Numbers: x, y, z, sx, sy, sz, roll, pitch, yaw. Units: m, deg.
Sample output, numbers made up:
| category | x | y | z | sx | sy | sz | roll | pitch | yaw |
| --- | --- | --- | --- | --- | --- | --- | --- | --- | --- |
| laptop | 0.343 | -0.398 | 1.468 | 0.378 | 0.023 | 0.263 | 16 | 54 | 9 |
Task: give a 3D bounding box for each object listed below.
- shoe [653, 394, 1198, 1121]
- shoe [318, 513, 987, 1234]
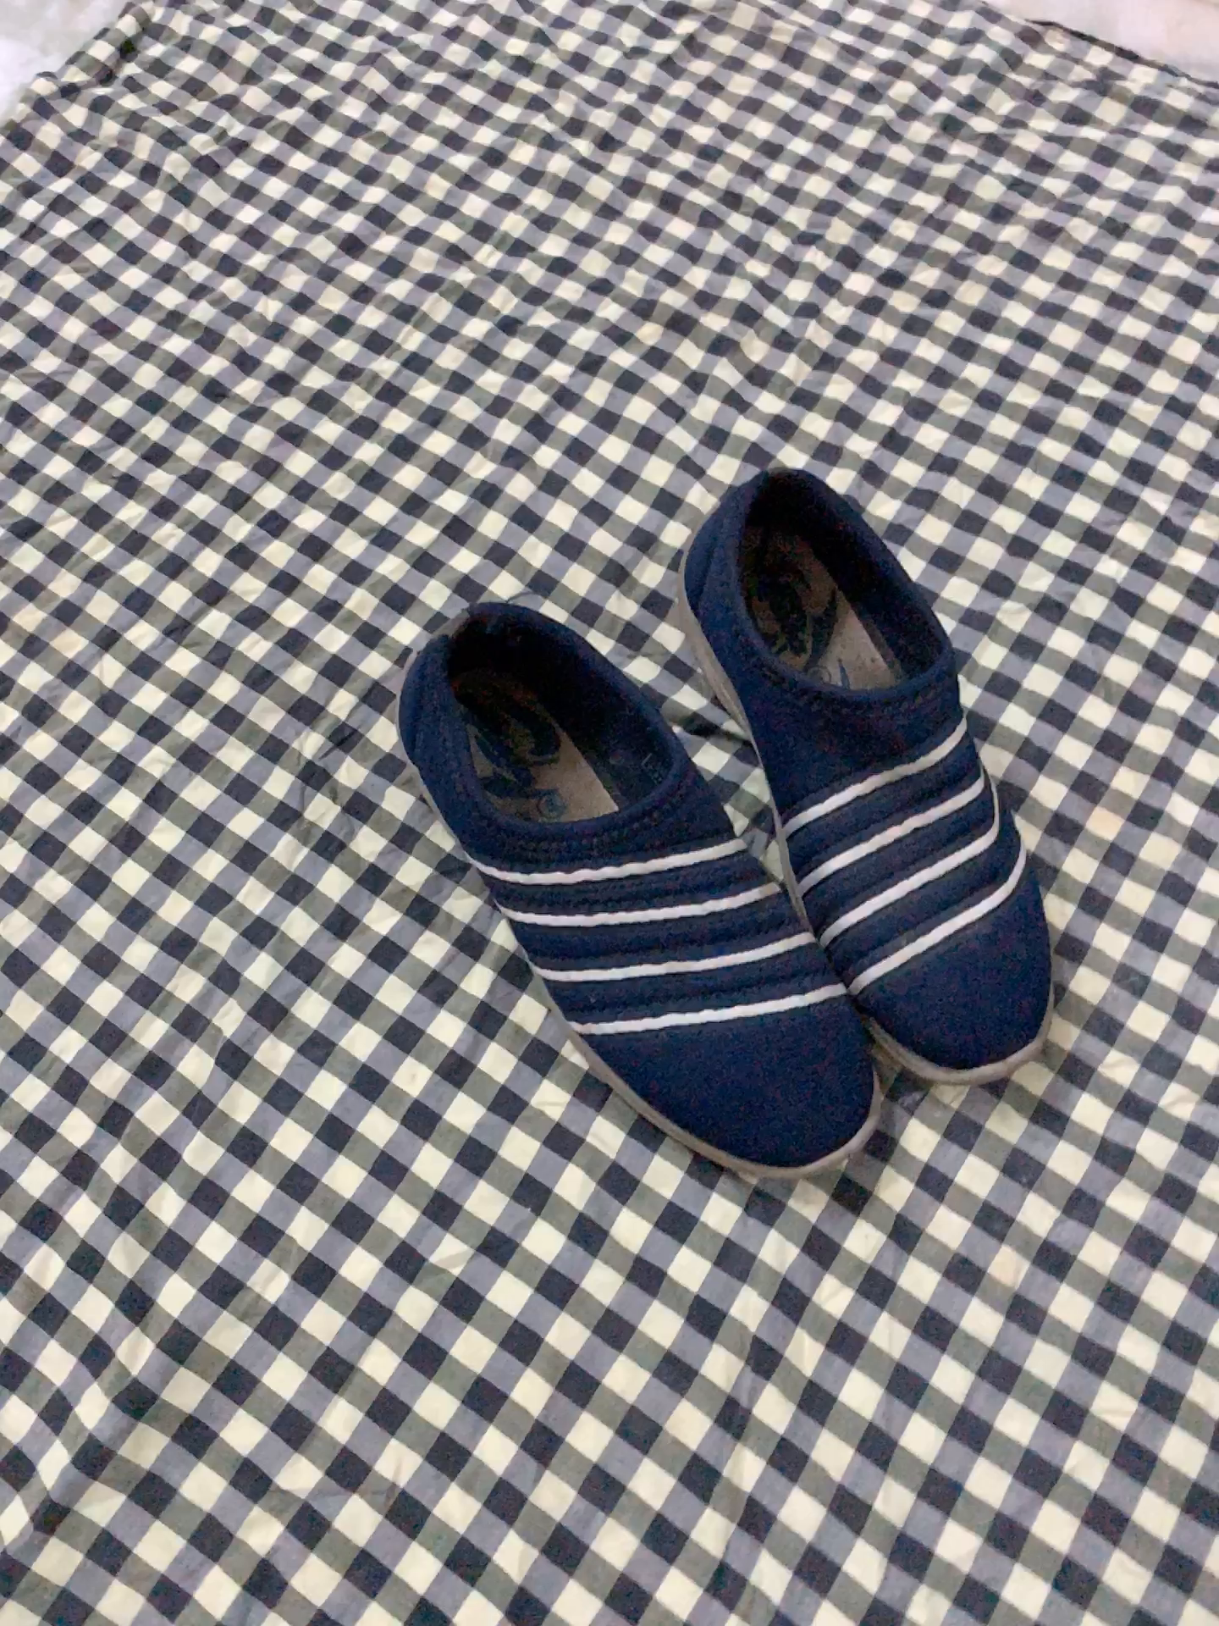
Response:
| category | x | y | z | sx | sy | sz | roll | pitch | yaw |
| --- | --- | --- | --- | --- | --- | --- | --- | --- | --- |
| shoe | 0.105 | -0.022 | 0.490 | 0.090 | 0.100 | 0.251 | -20 | 69 | -5 |
| shoe | 0.008 | 0.020 | 0.466 | 0.090 | 0.090 | 0.251 | -36 | 71 | -11 |
